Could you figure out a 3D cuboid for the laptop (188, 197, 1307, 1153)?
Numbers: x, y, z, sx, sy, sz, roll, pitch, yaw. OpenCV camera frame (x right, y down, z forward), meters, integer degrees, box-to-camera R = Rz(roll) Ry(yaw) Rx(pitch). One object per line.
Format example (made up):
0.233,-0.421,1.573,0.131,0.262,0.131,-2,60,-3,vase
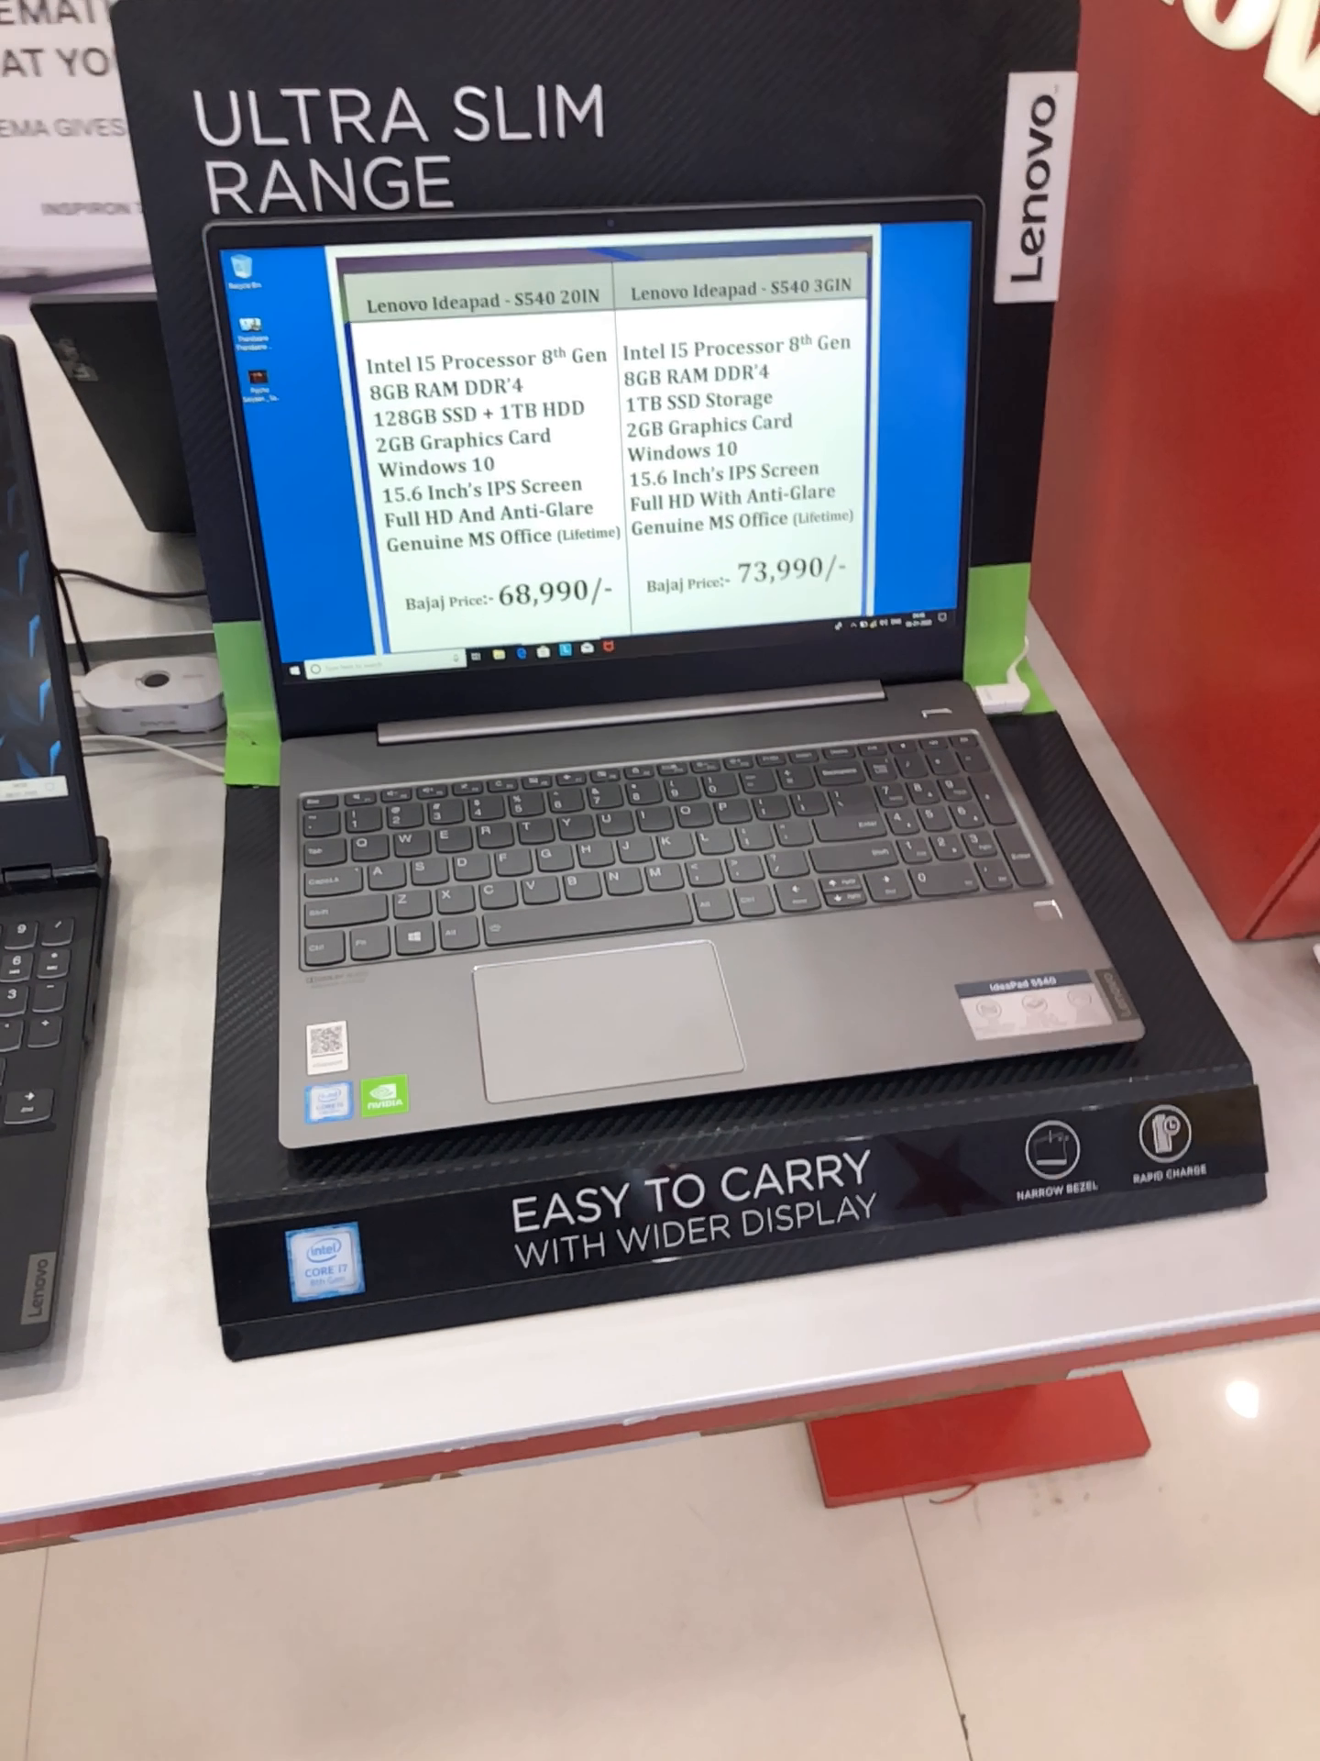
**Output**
0.005,-0.106,0.601,0.336,0.194,0.325,-6,48,-9,laptop
